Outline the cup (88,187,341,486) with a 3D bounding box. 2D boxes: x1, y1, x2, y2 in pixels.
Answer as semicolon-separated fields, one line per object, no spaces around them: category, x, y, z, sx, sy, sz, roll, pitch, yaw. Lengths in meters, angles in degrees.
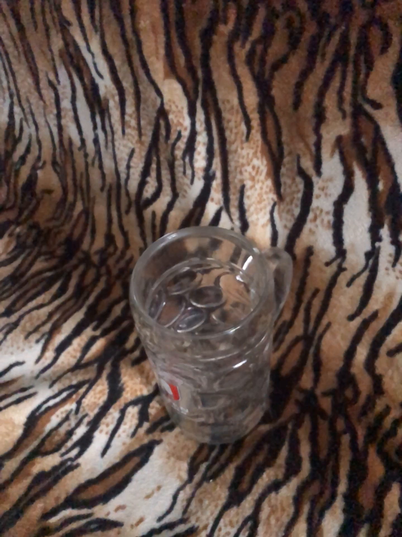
cup;0.017;0.063;0.407;0.150;0.194;0.121;-35;52;-25
